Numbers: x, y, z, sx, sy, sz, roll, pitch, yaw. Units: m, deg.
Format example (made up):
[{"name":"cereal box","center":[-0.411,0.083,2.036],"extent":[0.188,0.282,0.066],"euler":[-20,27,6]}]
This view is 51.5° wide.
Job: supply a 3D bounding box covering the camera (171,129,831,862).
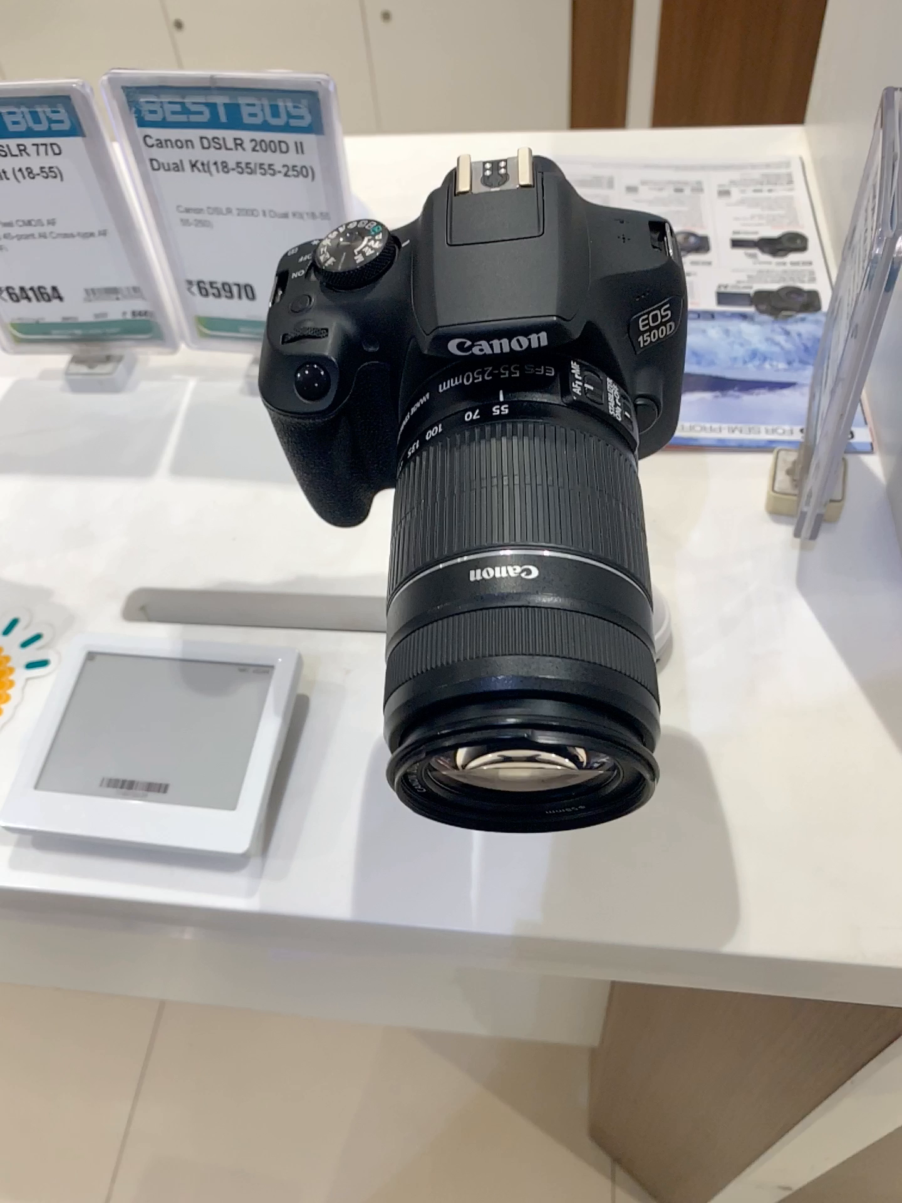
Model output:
[{"name":"camera","center":[0.010,-0.028,0.246],"extent":[0.117,0.090,0.164],"euler":[-3,60,4]}]
